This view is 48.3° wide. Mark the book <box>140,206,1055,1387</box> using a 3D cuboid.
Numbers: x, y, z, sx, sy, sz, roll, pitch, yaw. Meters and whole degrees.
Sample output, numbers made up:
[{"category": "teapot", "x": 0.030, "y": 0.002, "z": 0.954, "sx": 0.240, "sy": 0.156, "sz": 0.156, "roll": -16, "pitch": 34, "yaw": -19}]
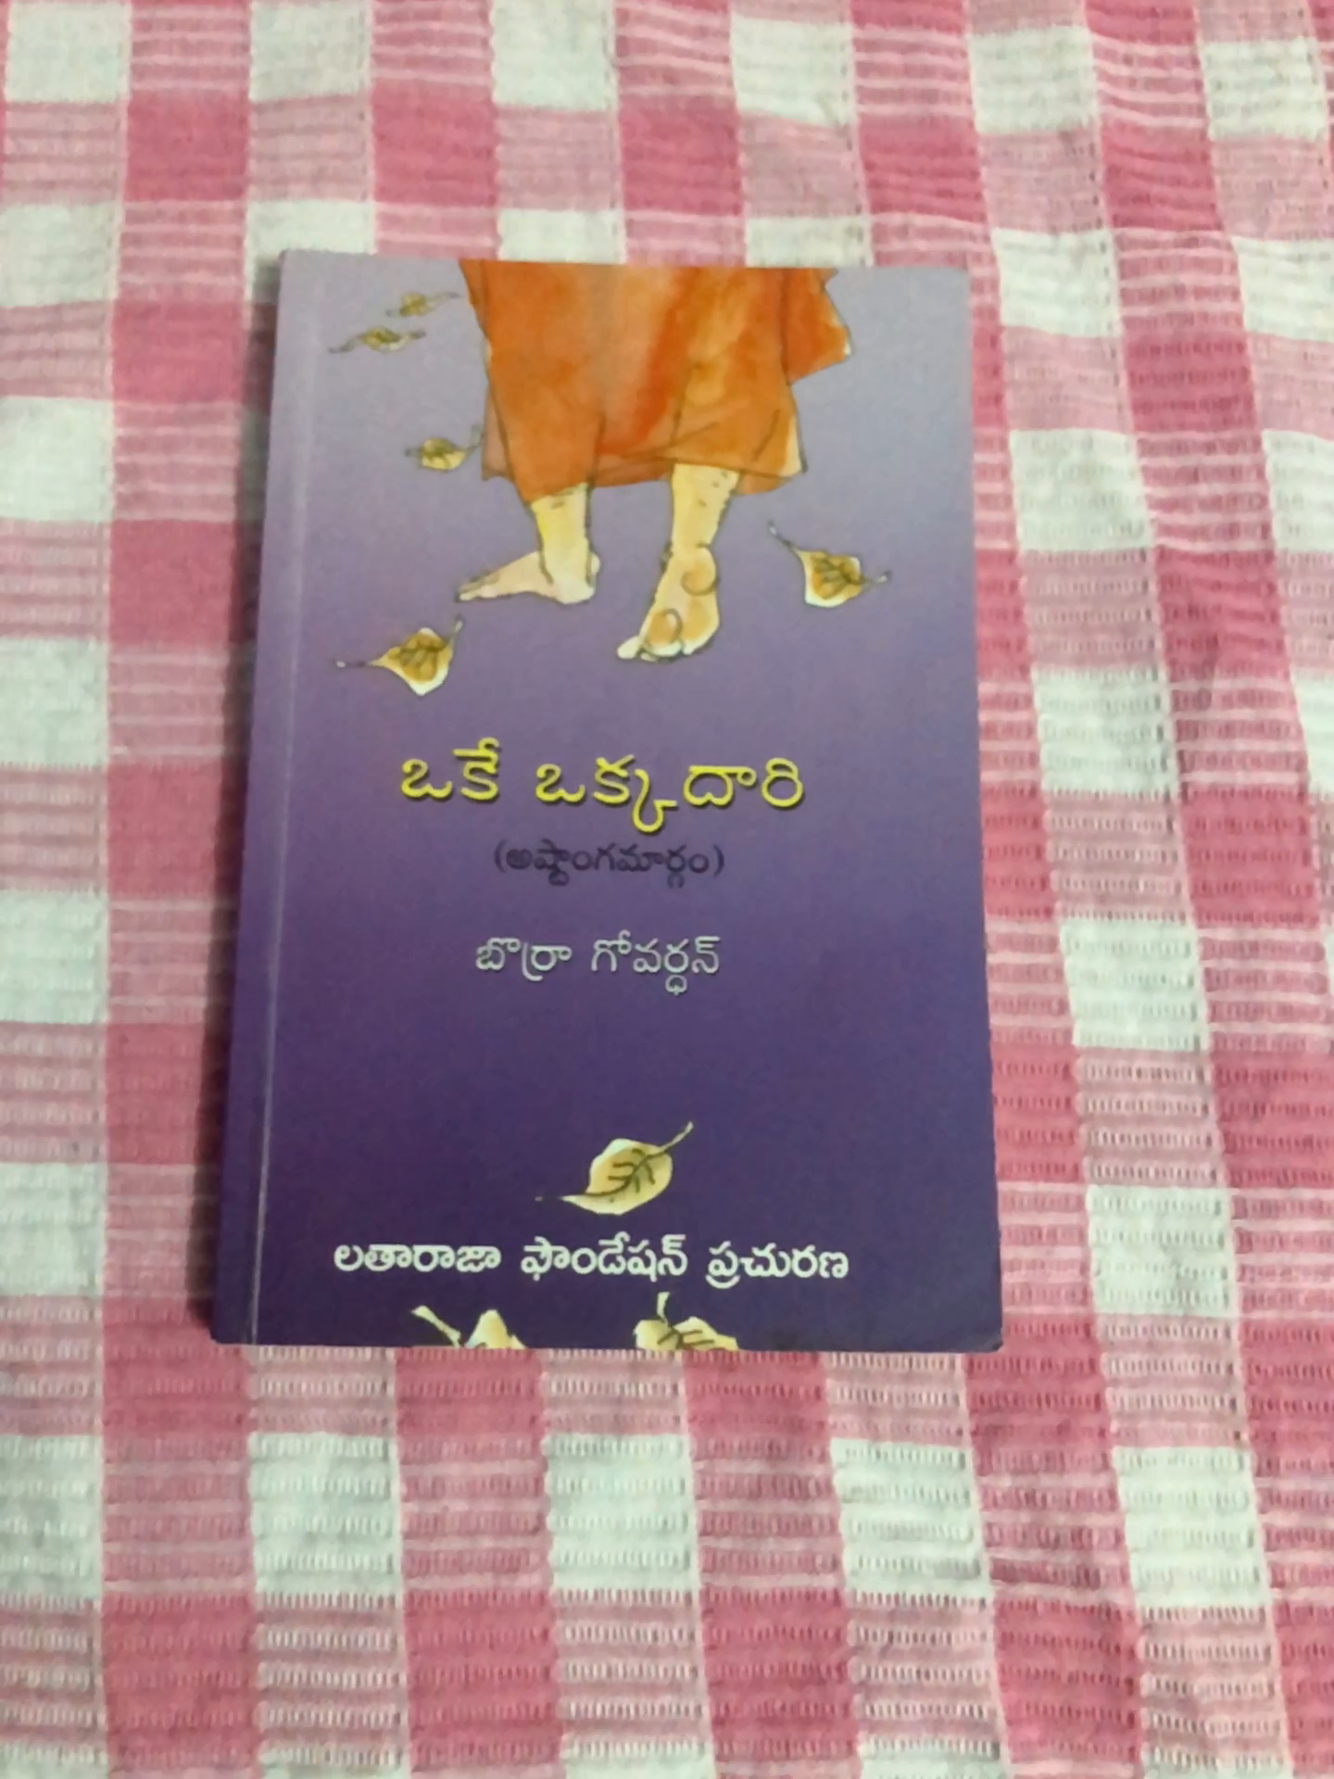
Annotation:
[{"category": "book", "x": -0.008, "y": -0.021, "z": 0.273, "sx": 0.150, "sy": 0.020, "sz": 0.210, "roll": 2, "pitch": 79, "yaw": -2}]
